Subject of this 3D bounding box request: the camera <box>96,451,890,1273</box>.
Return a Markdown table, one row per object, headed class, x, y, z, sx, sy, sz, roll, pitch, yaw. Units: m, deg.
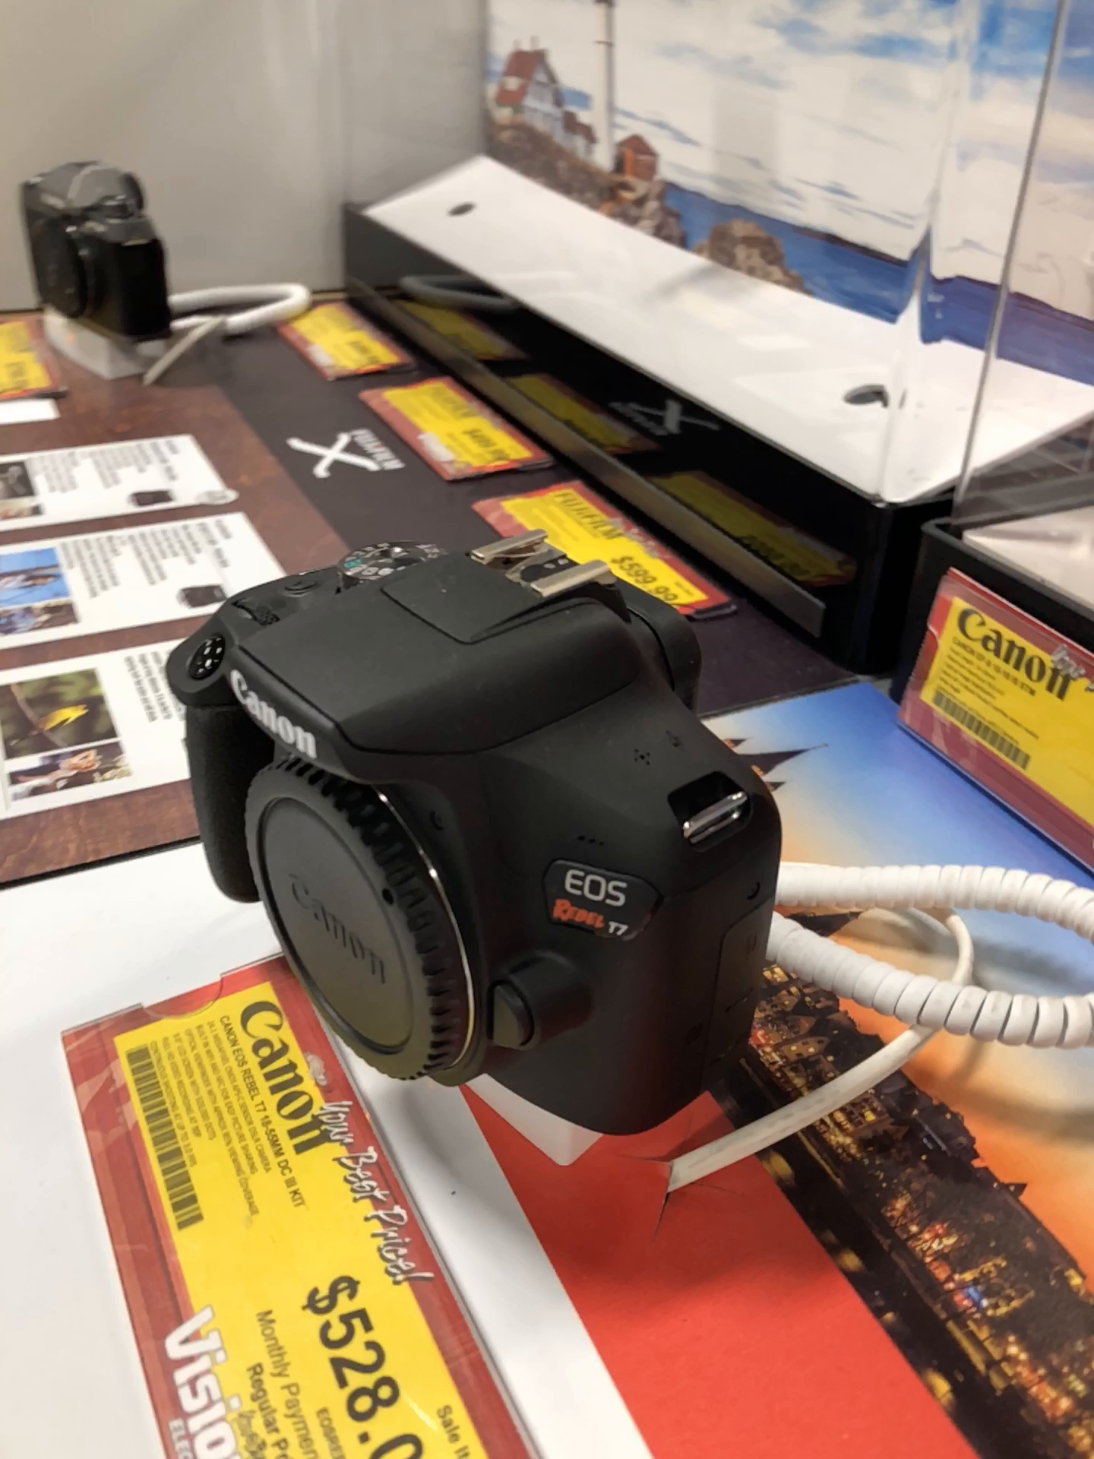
| class | x | y | z | sx | sy | sz | roll | pitch | yaw |
| --- | --- | --- | --- | --- | --- | --- | --- | --- | --- |
| camera | -0.017 | 0.013 | 0.245 | 0.080 | 0.089 | 0.131 | -24 | 41 | -36 |
